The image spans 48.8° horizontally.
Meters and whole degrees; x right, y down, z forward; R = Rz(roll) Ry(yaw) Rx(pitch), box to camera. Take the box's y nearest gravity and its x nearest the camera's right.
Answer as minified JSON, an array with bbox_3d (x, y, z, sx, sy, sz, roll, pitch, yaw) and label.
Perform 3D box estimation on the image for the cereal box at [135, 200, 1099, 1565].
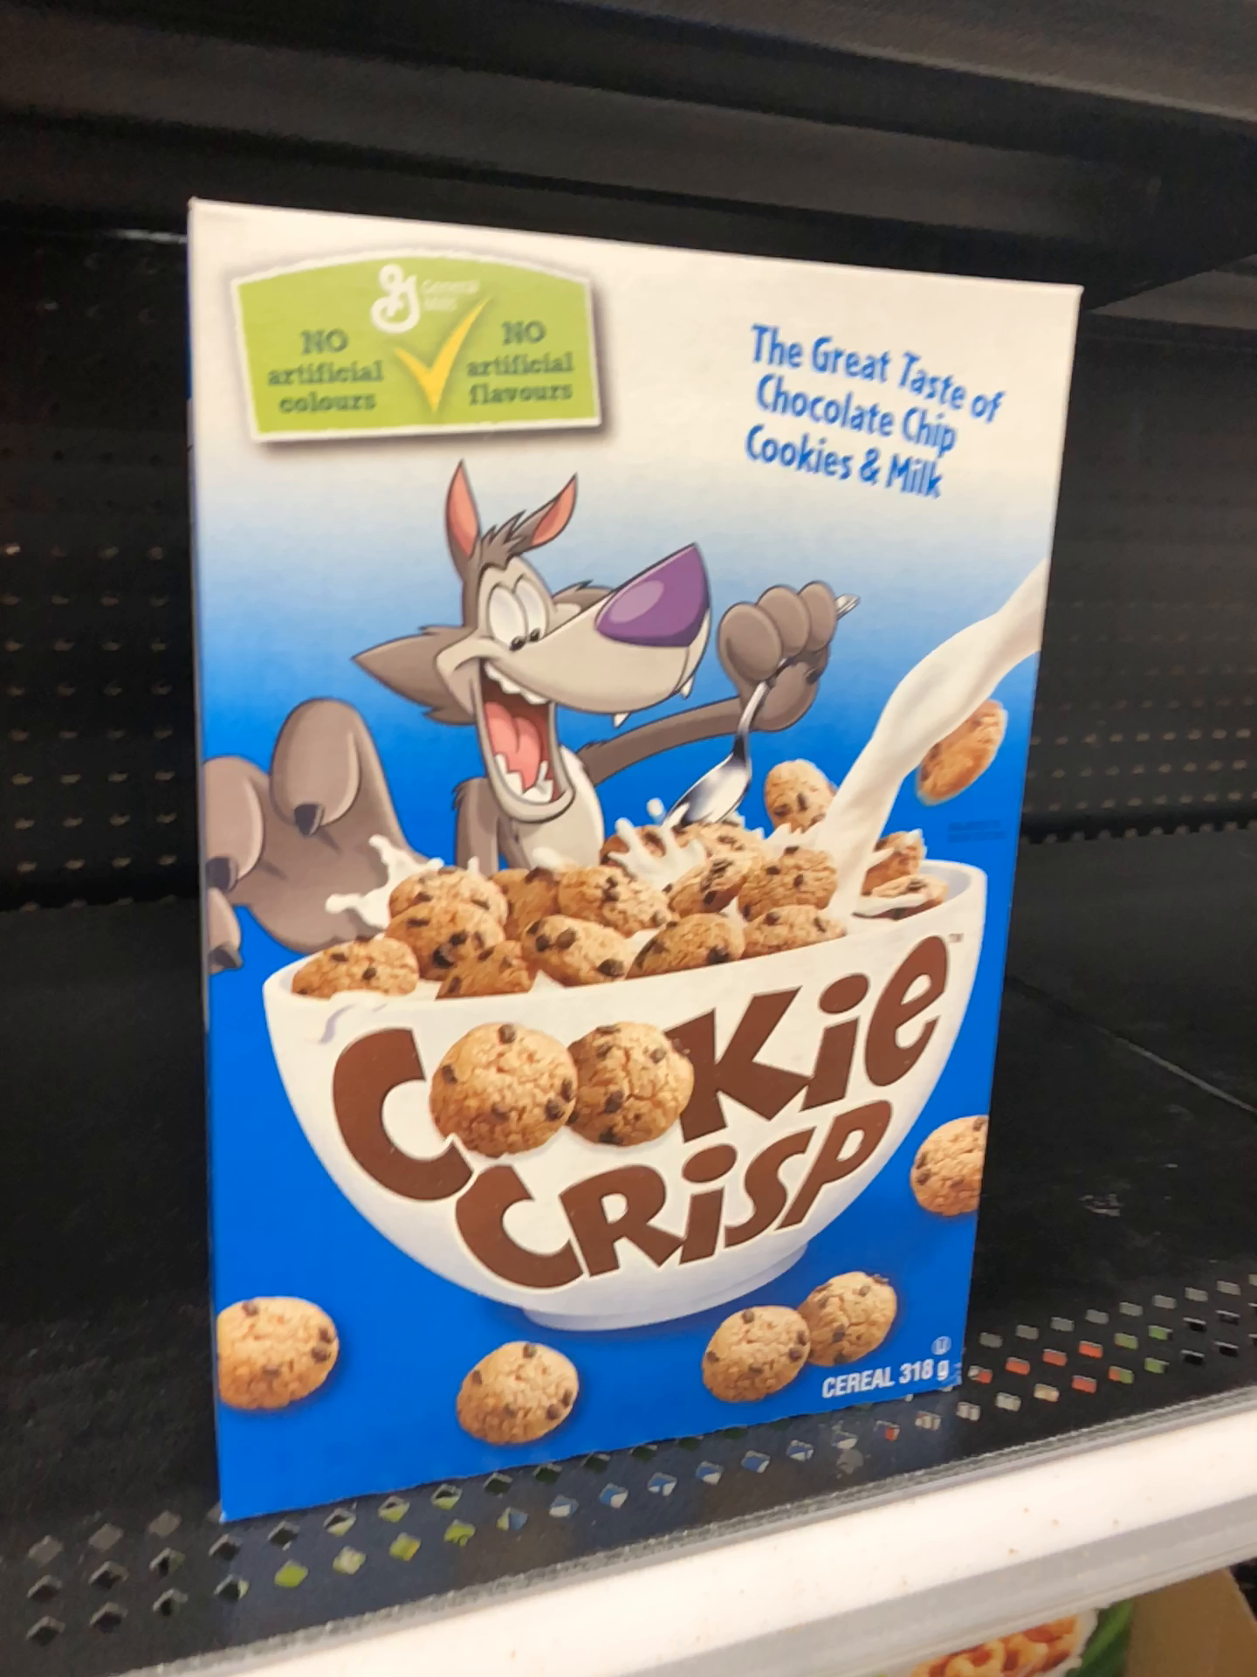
[{"bbox_3d":[-0.006,0.012,0.333,0.200,0.279,0.060,-2,14,-18],"label":"cereal box"}]
